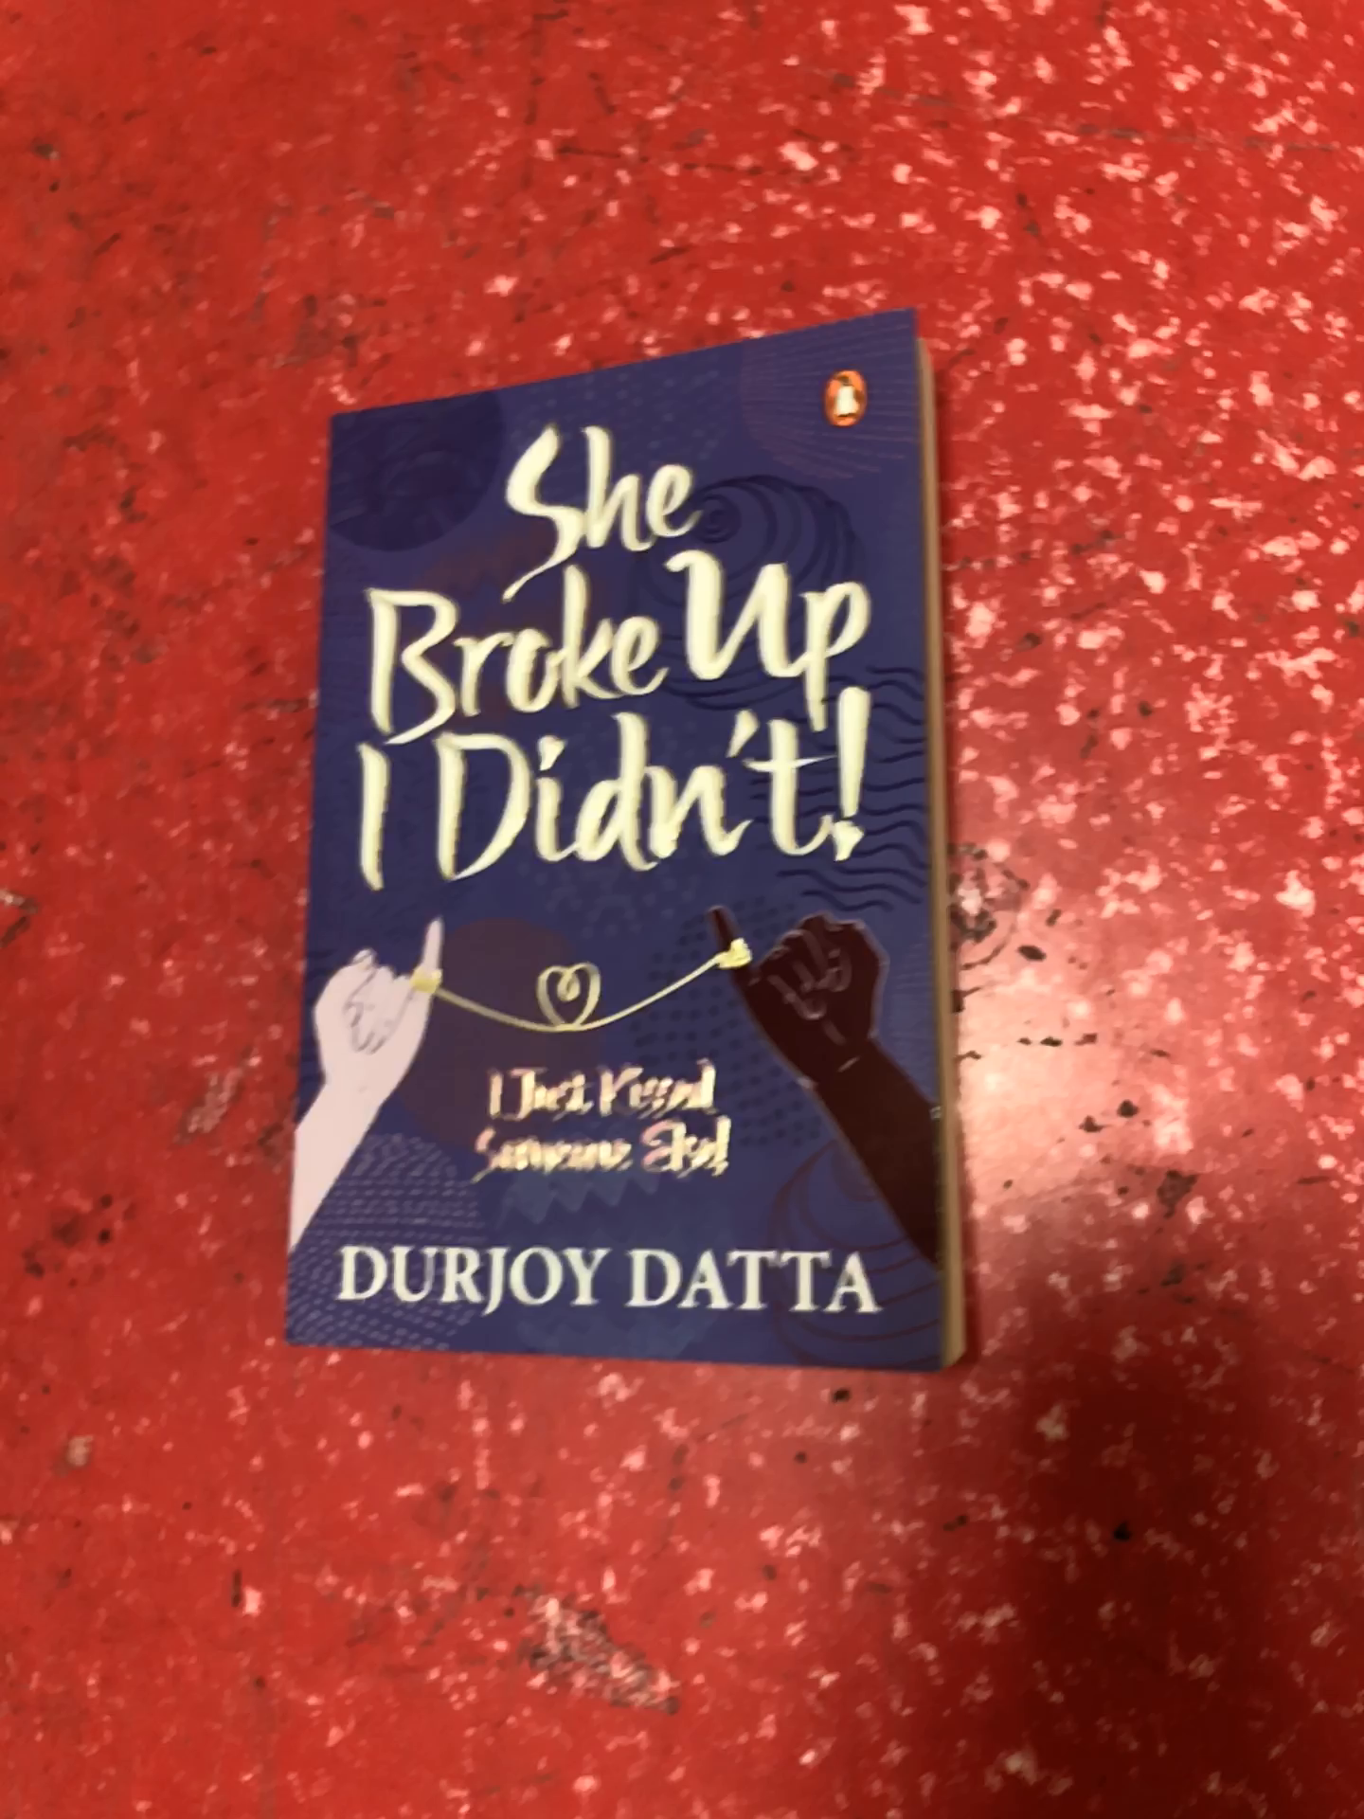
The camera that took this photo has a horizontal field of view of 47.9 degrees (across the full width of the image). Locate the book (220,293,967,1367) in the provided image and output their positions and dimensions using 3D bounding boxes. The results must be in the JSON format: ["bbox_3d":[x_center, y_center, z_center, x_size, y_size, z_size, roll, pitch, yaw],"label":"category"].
[{"bbox_3d":[-0.015,-0.013,0.300,0.130,0.040,0.190,-3,78,15],"label":"book"}]
